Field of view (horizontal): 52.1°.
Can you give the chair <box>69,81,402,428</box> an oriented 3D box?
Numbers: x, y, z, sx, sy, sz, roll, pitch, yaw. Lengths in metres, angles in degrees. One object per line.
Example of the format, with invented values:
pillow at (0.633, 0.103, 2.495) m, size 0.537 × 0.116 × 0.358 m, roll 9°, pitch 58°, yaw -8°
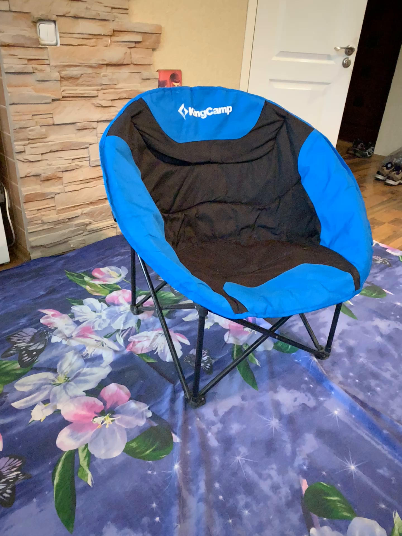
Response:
chair at (0.069, -0.126, 1.293) m, size 0.761 × 0.773 × 0.612 m, roll -10°, pitch 31°, yaw -25°
